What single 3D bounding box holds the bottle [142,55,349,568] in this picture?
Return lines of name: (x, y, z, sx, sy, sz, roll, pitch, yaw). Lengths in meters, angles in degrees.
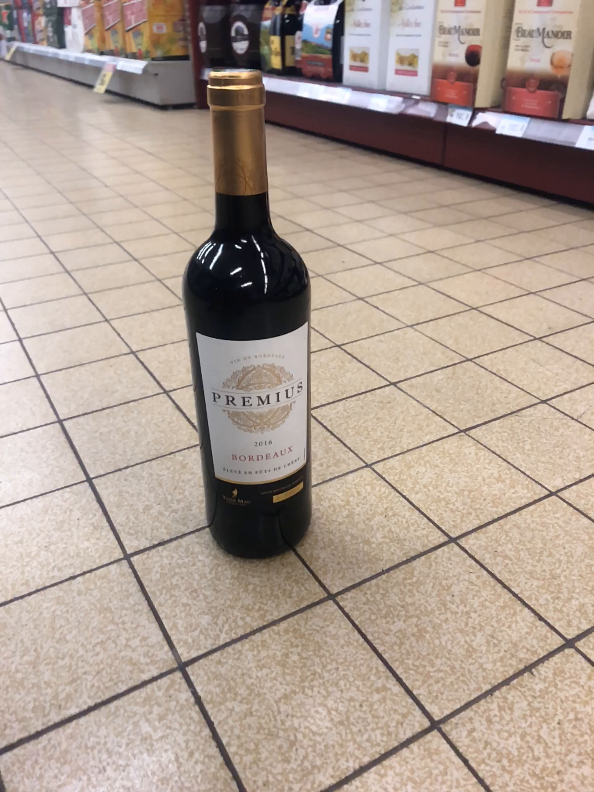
bottle: (-0.028, -0.040, 0.392, 0.090, 0.288, 0.080, -7, 30, -11)
